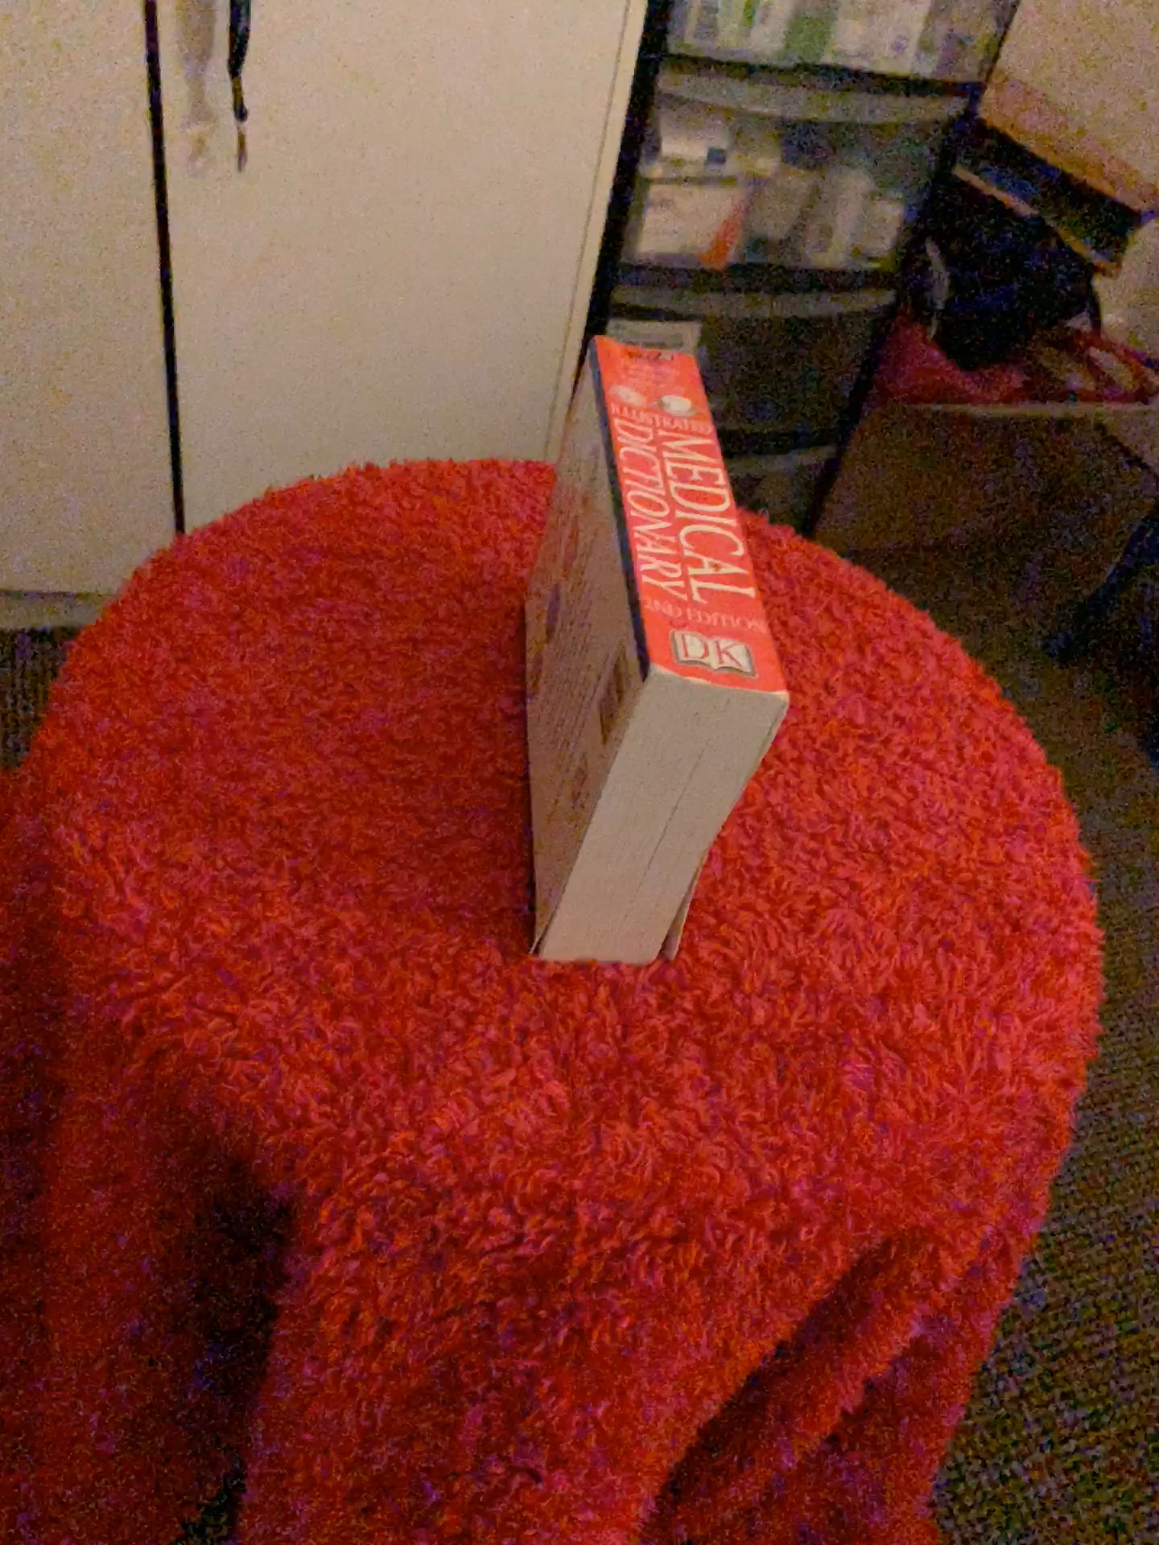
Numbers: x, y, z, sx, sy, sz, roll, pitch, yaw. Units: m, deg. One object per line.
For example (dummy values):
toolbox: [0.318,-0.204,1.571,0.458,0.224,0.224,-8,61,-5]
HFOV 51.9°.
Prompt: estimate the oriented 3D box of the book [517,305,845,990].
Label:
book: [0.021,-0.054,0.428,0.050,0.129,0.222,9,43,-14]
